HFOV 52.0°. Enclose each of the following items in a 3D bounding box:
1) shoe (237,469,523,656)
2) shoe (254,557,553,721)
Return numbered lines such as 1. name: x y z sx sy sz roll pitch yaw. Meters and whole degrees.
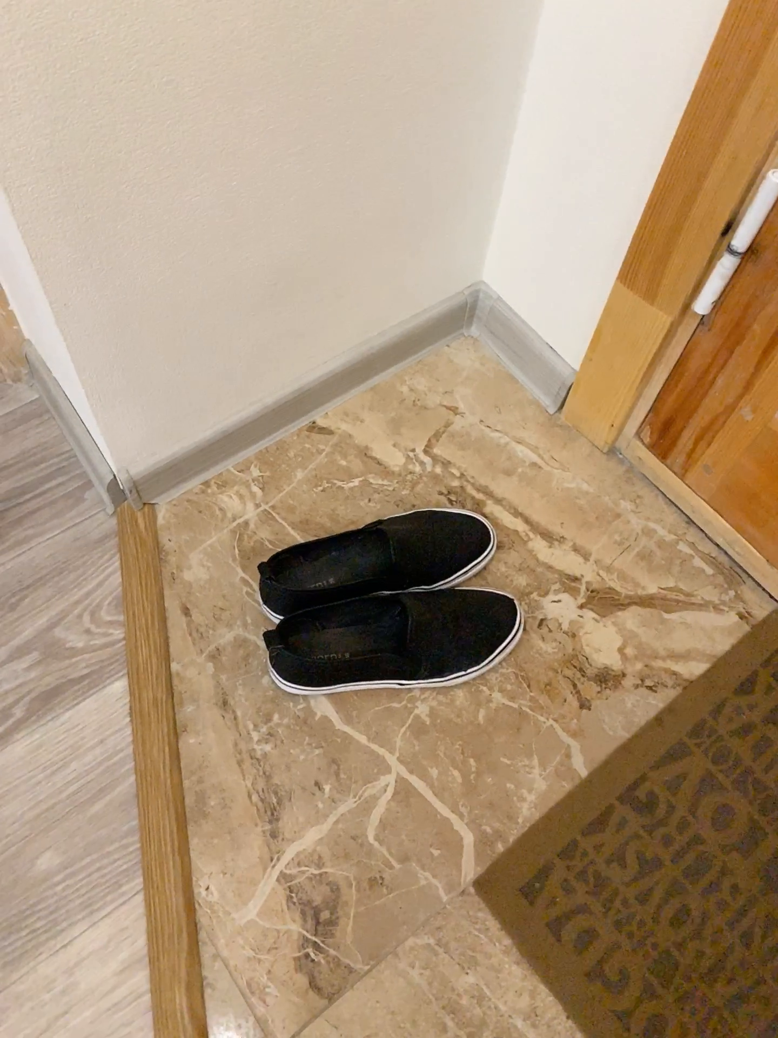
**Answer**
1. shoe: -0.009 0.039 0.766 0.250 0.060 0.090 -18 63 -14
2. shoe: 0.010 0.108 0.729 0.250 0.060 0.090 -9 61 -10
